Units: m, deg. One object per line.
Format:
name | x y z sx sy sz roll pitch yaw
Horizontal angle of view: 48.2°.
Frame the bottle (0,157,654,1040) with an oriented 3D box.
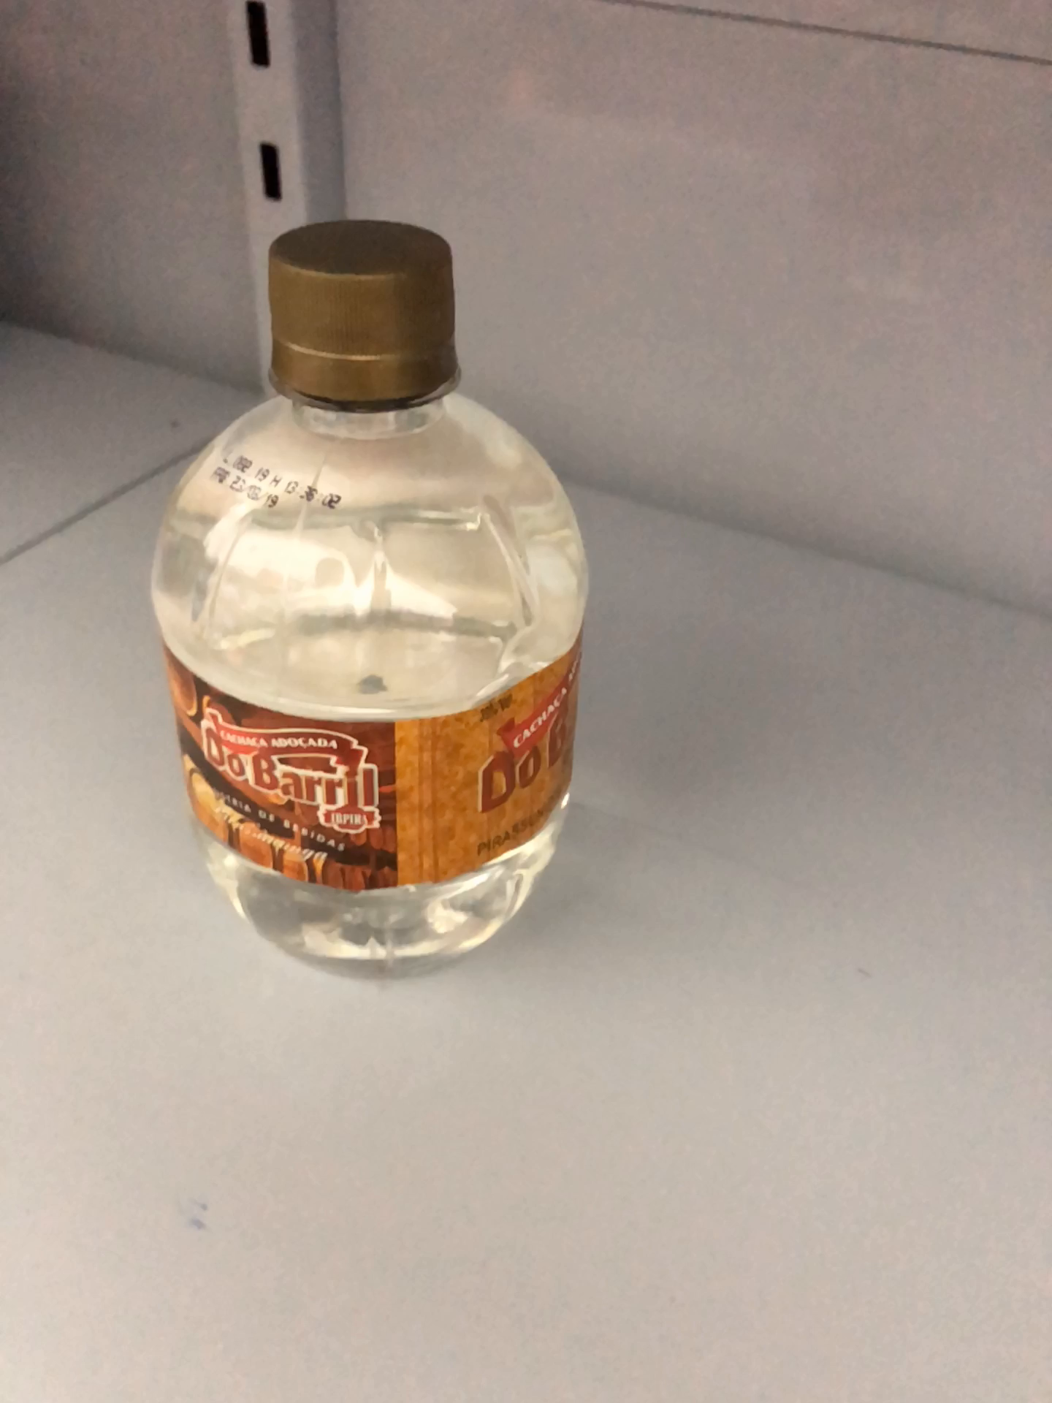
bottle | -0.031 -0.019 0.233 0.080 0.139 0.081 2 38 -1
